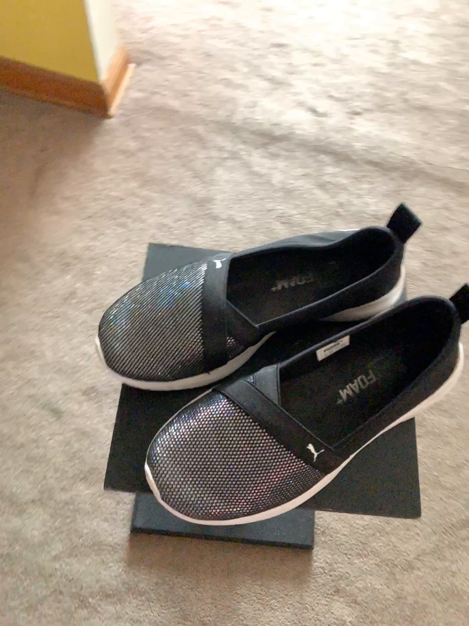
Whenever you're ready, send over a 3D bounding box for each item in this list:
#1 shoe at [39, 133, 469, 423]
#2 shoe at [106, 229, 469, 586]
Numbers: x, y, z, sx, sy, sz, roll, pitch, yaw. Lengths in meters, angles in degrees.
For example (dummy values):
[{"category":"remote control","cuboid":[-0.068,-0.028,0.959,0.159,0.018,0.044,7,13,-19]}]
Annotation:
[{"category":"shoe","cuboid":[0.019,-0.025,0.340,0.260,0.100,0.100,-18,70,-14]},{"category":"shoe","cuboid":[0.064,0.054,0.316,0.256,0.100,0.100,-23,71,-15]}]
